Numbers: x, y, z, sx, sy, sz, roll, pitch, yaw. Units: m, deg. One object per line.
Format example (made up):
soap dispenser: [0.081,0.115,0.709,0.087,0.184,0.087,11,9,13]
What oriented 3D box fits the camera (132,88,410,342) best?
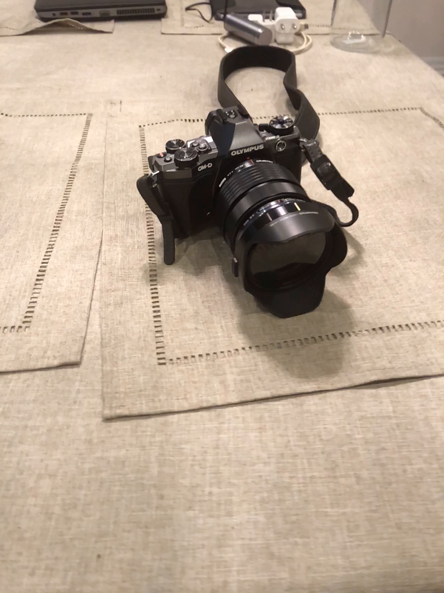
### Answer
camera: [0.023,-0.072,0.362,0.124,0.092,0.165,-17,44,-17]
